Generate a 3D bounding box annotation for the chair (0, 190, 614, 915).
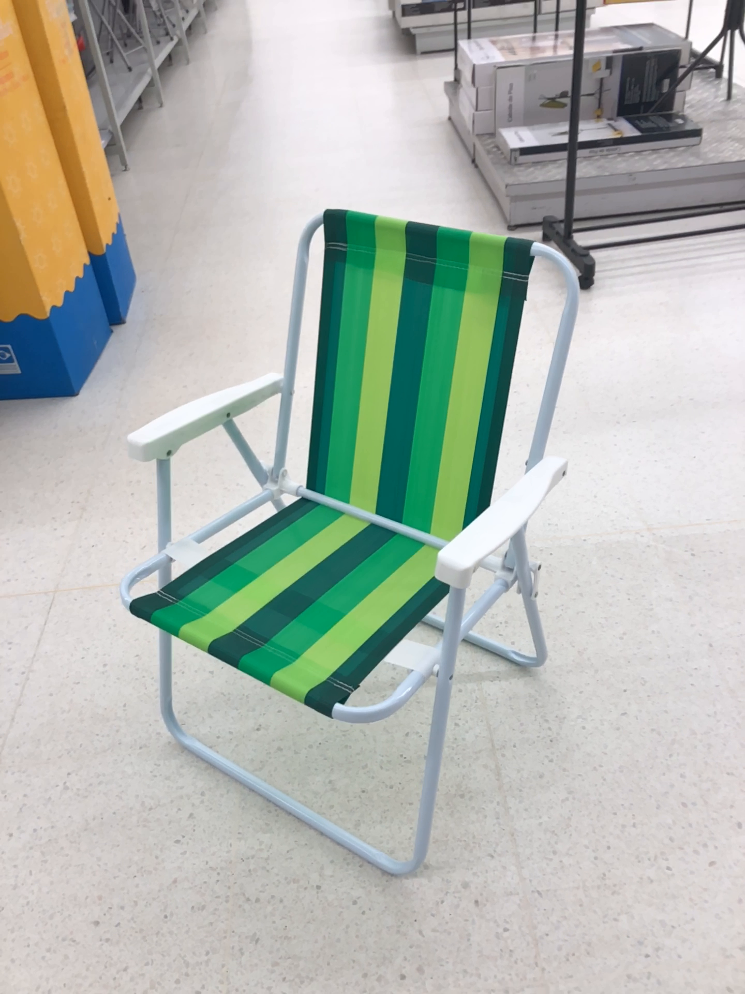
[{"bbox_3d":[-0.045,0.045,1.139,0.511,0.715,0.522,20,44,30],"label":"chair"}]
